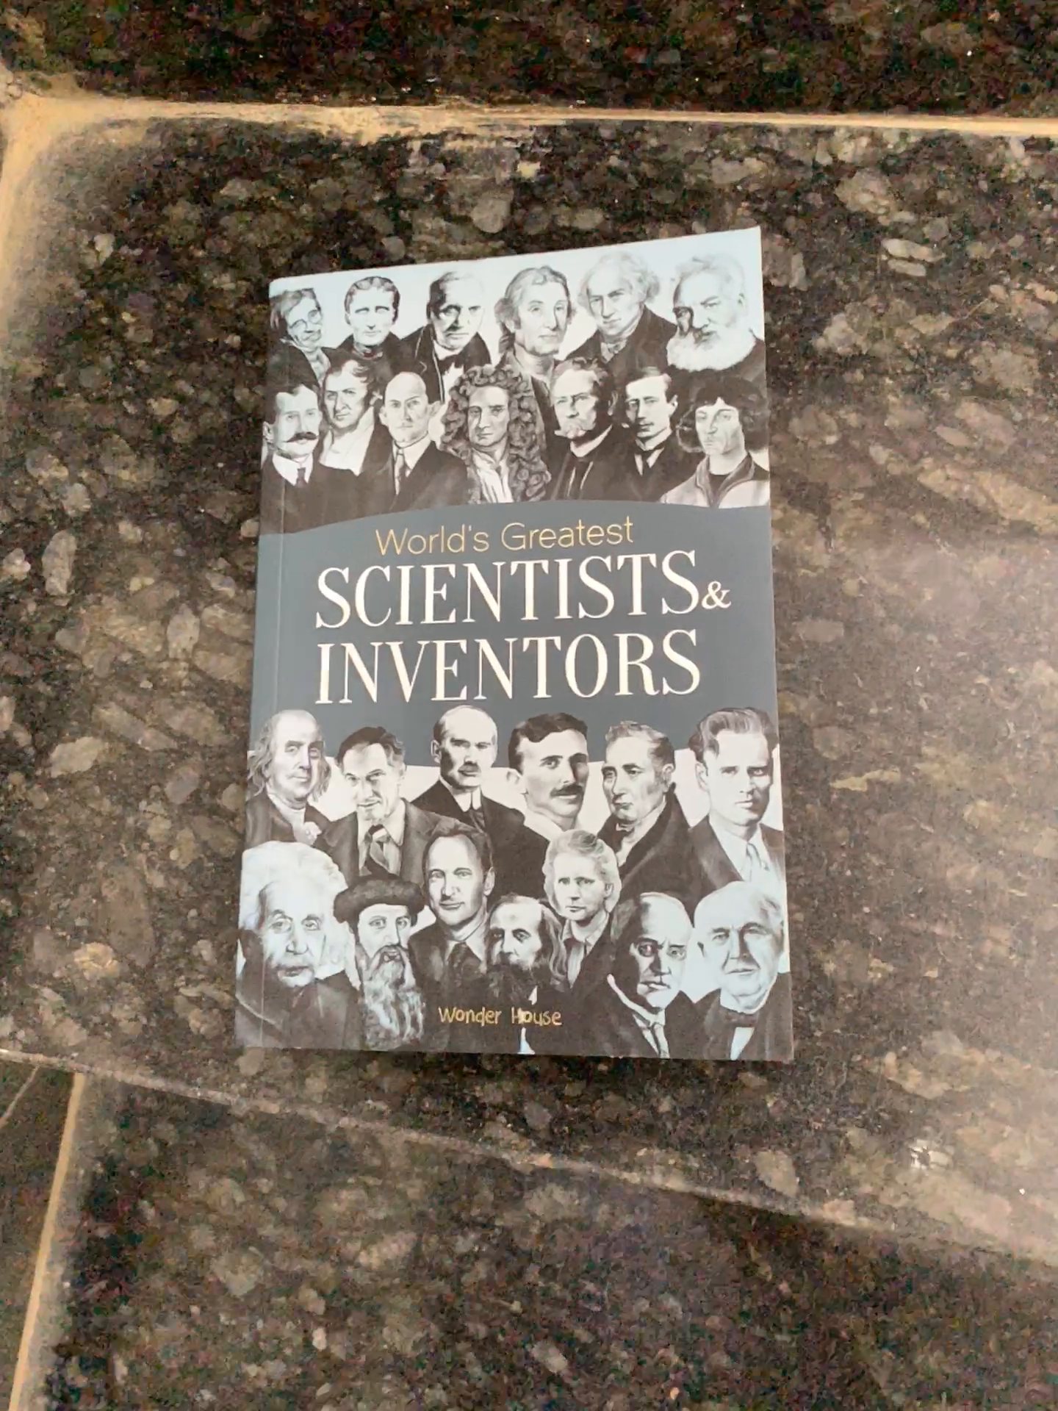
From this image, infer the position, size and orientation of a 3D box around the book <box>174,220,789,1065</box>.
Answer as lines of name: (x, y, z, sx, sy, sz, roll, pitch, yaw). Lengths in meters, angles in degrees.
book: (-0.012, -0.018, 0.273, 0.140, 0.020, 0.200, -2, 79, 9)
